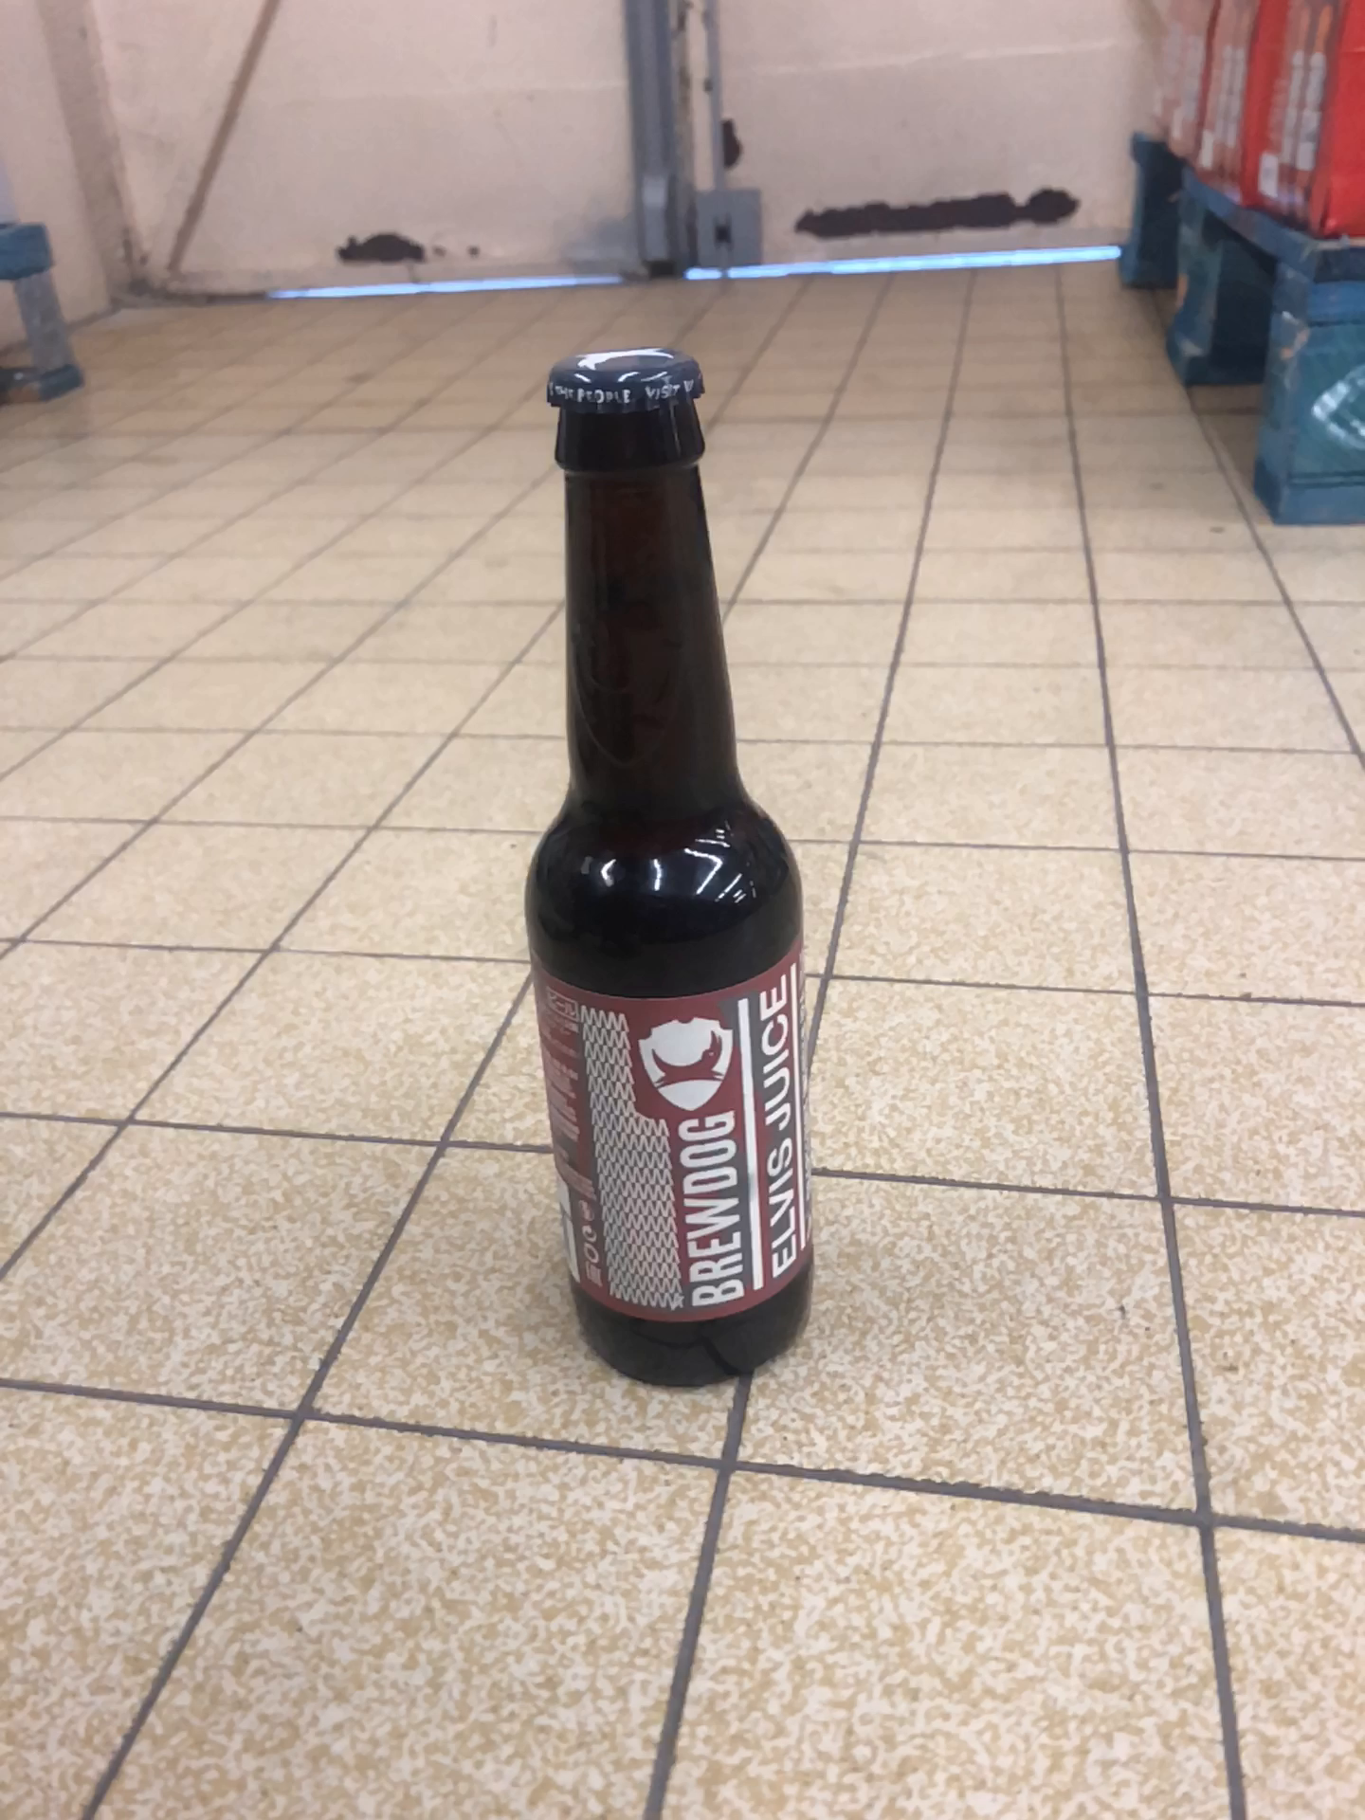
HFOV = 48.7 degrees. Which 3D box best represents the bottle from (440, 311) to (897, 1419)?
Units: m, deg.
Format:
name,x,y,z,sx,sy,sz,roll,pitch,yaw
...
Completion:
name,x,y,z,sx,sy,sz,roll,pitch,yaw
bottle,0.000,-0.004,0.308,0.070,0.209,0.070,-3,28,2
